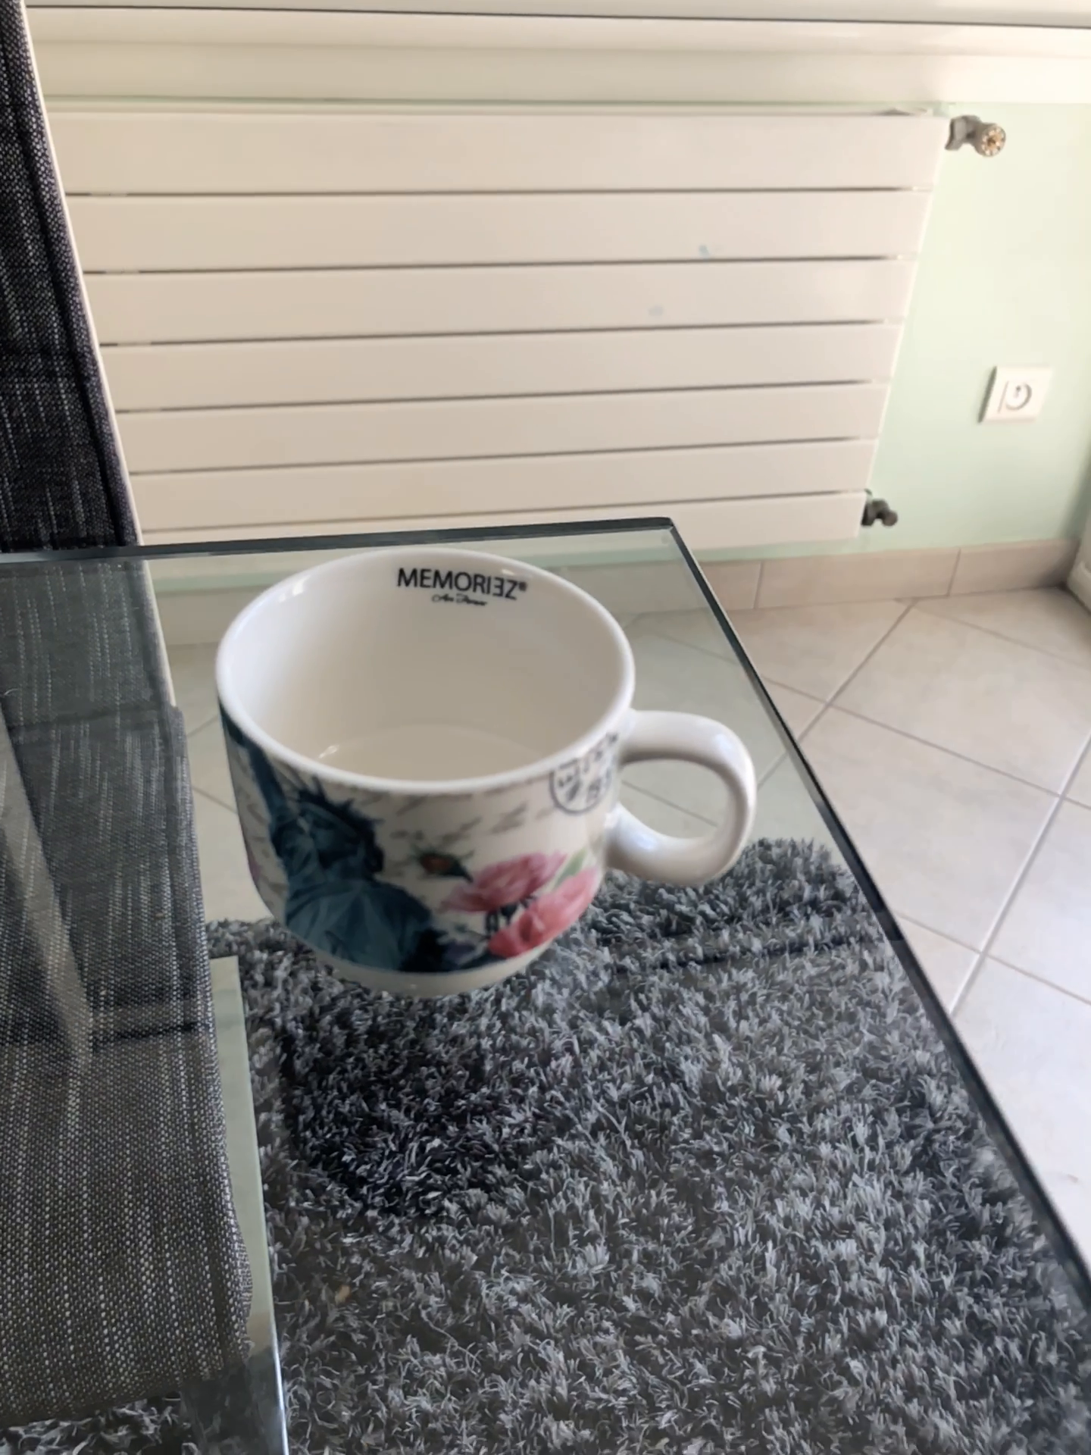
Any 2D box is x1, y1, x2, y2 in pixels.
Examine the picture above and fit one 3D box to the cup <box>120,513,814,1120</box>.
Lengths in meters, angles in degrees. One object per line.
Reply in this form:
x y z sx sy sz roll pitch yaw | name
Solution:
-0.008 0.010 0.204 0.090 0.050 0.070 13 39 12 | cup
